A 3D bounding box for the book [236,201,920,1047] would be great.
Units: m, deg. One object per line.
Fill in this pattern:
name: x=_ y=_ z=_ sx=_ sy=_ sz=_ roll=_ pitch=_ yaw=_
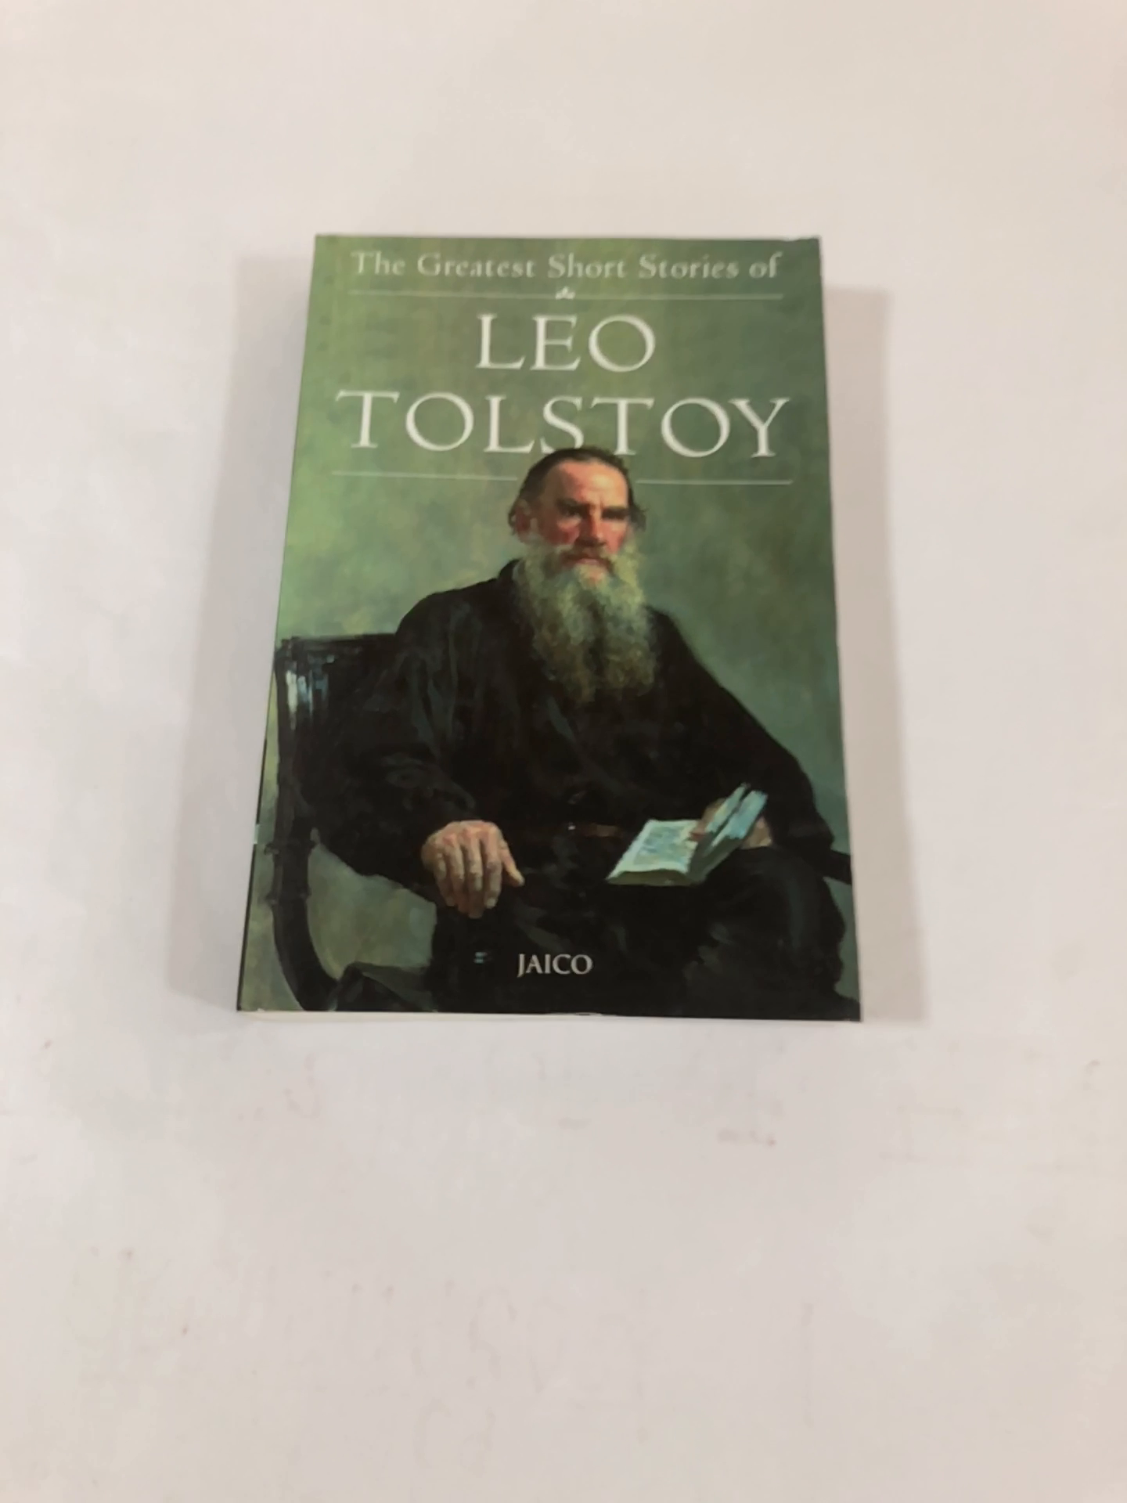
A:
book: x=0.004 y=-0.043 z=0.326 sx=0.150 sy=0.020 sz=0.230 roll=1 pitch=69 yaw=-1
